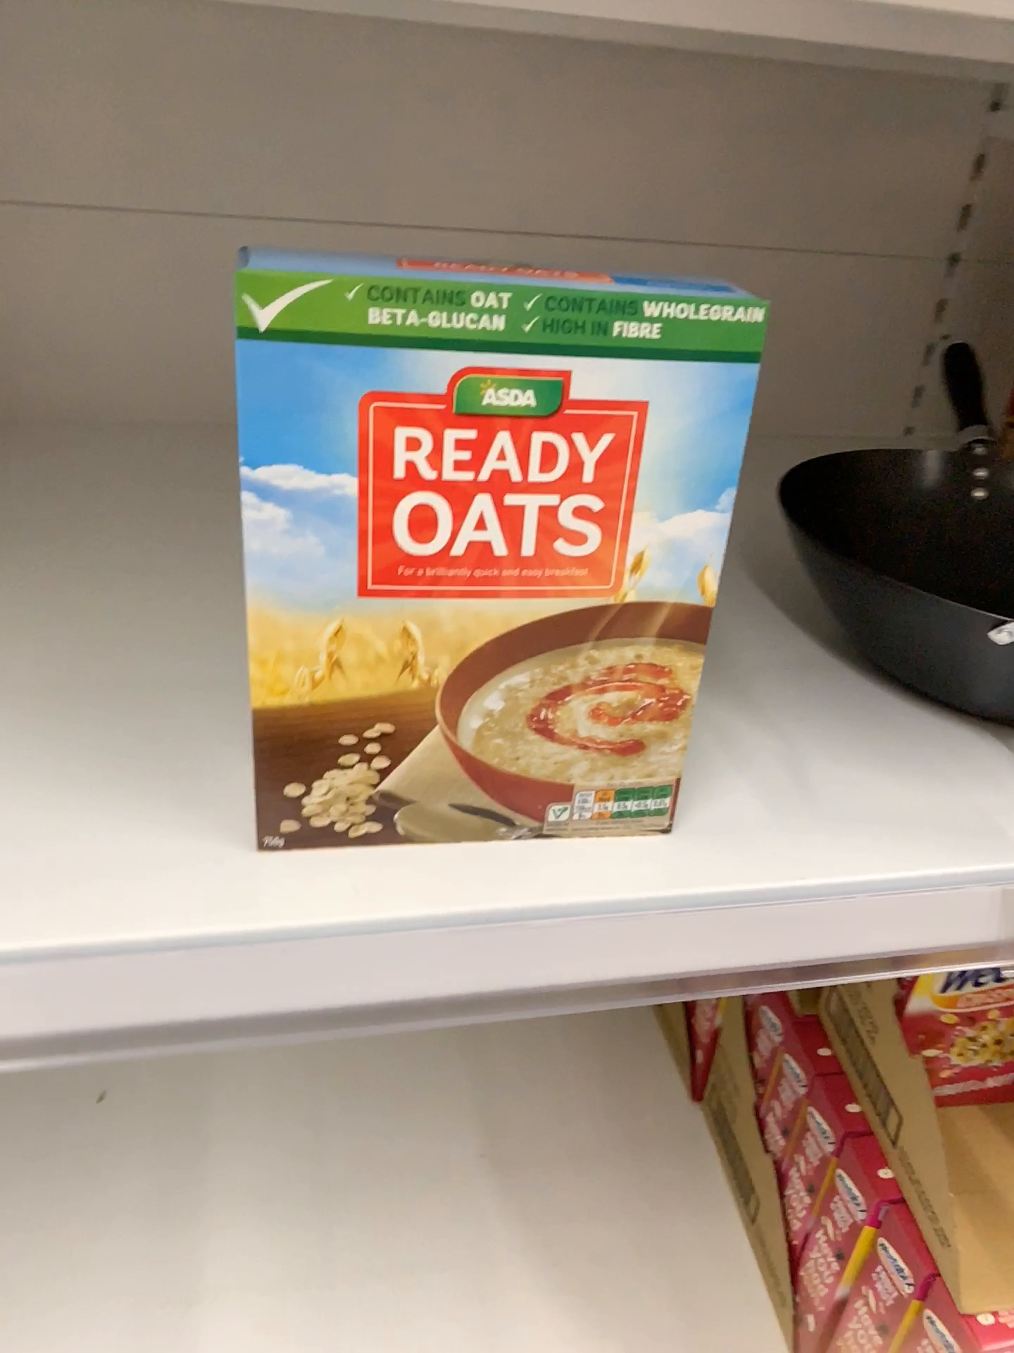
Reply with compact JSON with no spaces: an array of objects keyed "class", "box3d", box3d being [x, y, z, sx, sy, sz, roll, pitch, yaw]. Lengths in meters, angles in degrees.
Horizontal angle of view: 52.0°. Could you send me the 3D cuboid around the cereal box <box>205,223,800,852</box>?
[{"class":"cereal box","box3d":[-0.013,-0.054,0.473,0.220,0.258,0.081,-1,29,-11]}]
